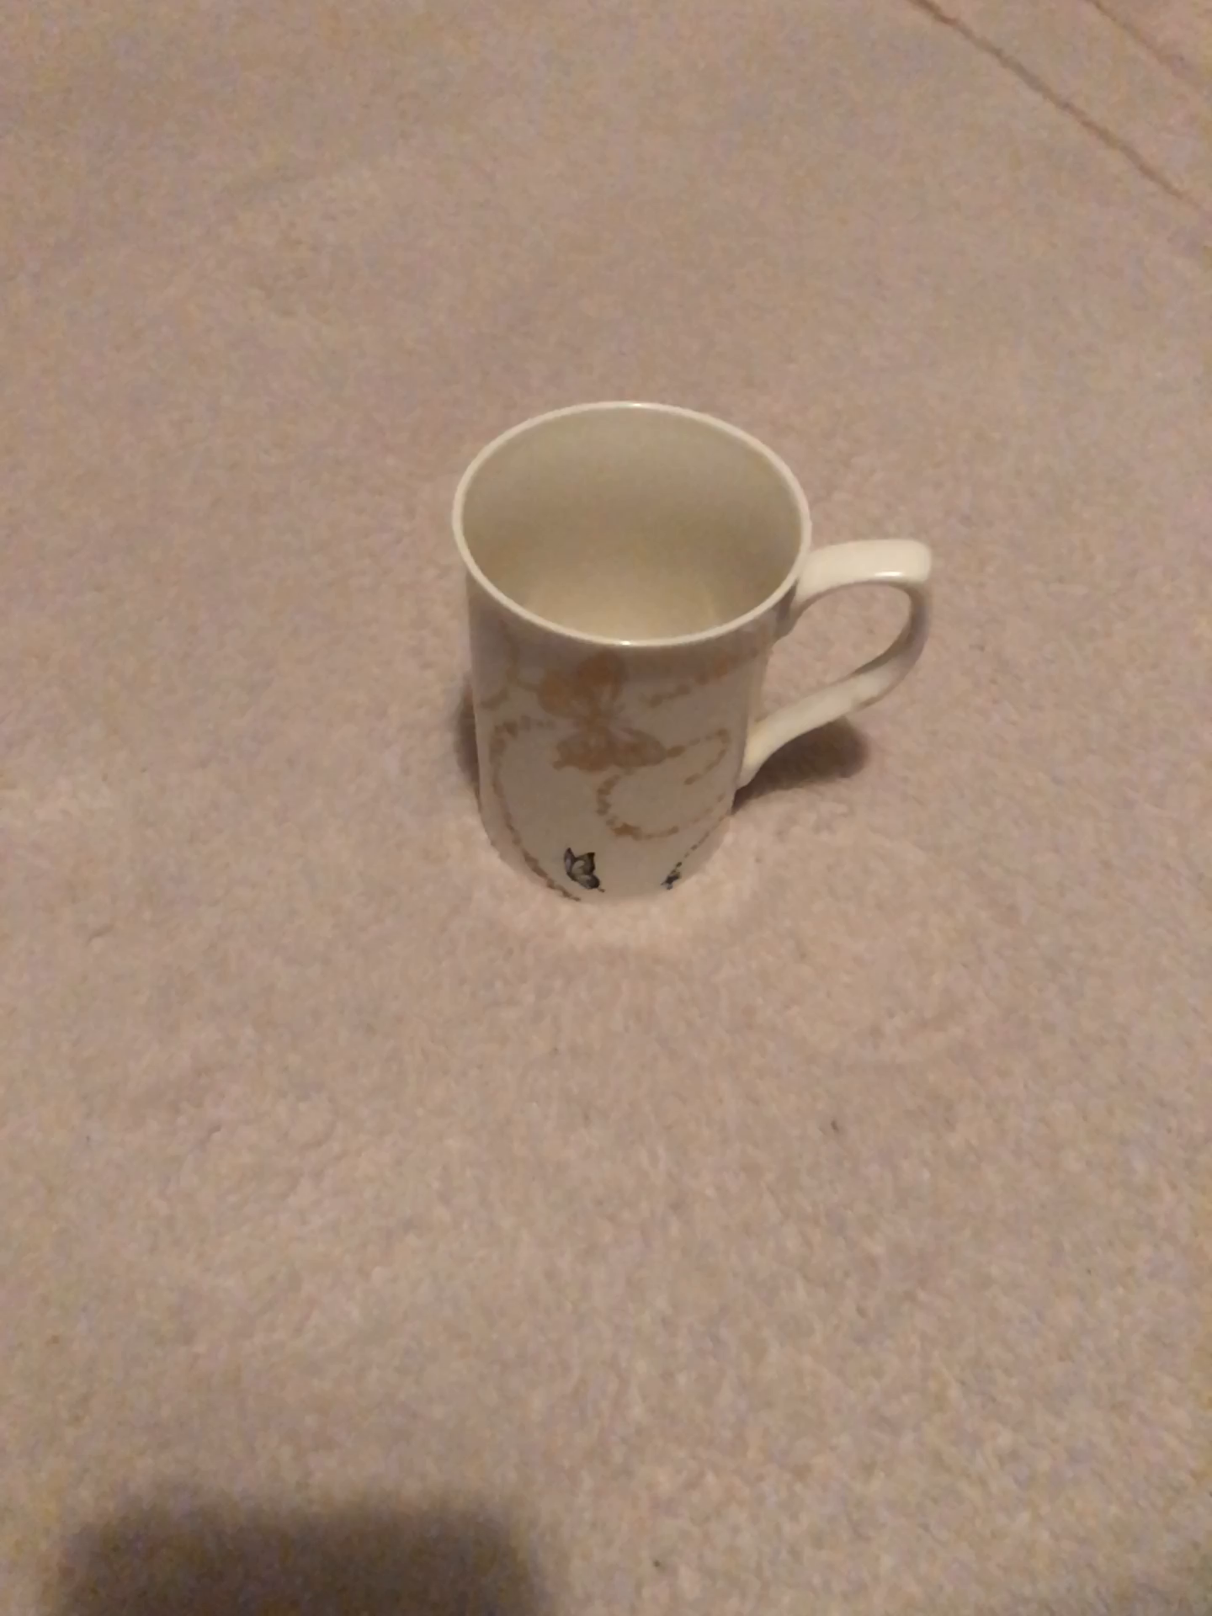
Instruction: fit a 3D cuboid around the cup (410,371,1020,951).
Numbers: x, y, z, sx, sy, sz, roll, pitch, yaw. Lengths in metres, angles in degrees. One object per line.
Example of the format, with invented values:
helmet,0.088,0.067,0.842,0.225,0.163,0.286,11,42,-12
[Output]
cup,0.017,-0.030,0.311,0.112,0.110,0.074,-4,55,-4
